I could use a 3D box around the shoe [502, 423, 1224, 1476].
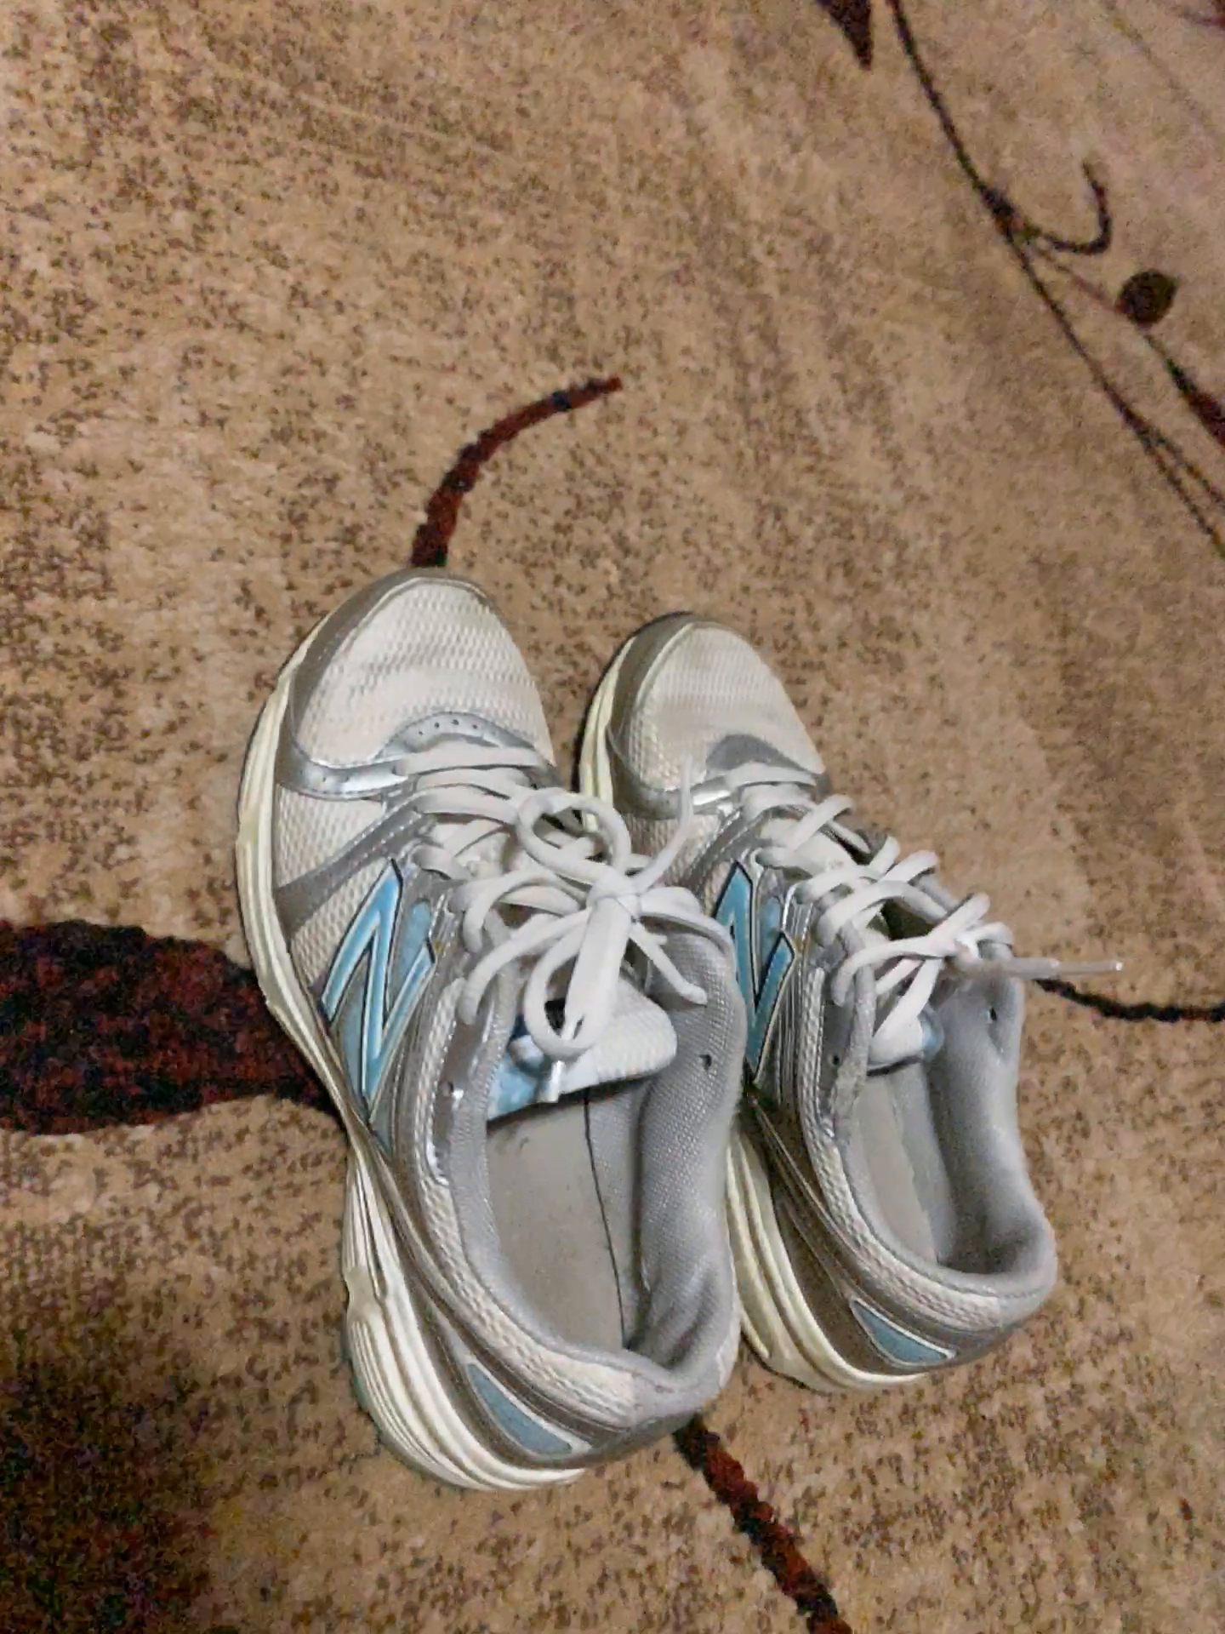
[{"bbox_3d":[0.069,0.037,0.405,0.104,0.124,0.283,-5,72,-34],"label":"shoe"}]

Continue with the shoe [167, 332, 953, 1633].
[{"bbox_3d":[-0.032,0.036,0.342,0.111,0.124,0.283,-2,71,-33],"label":"shoe"}]
